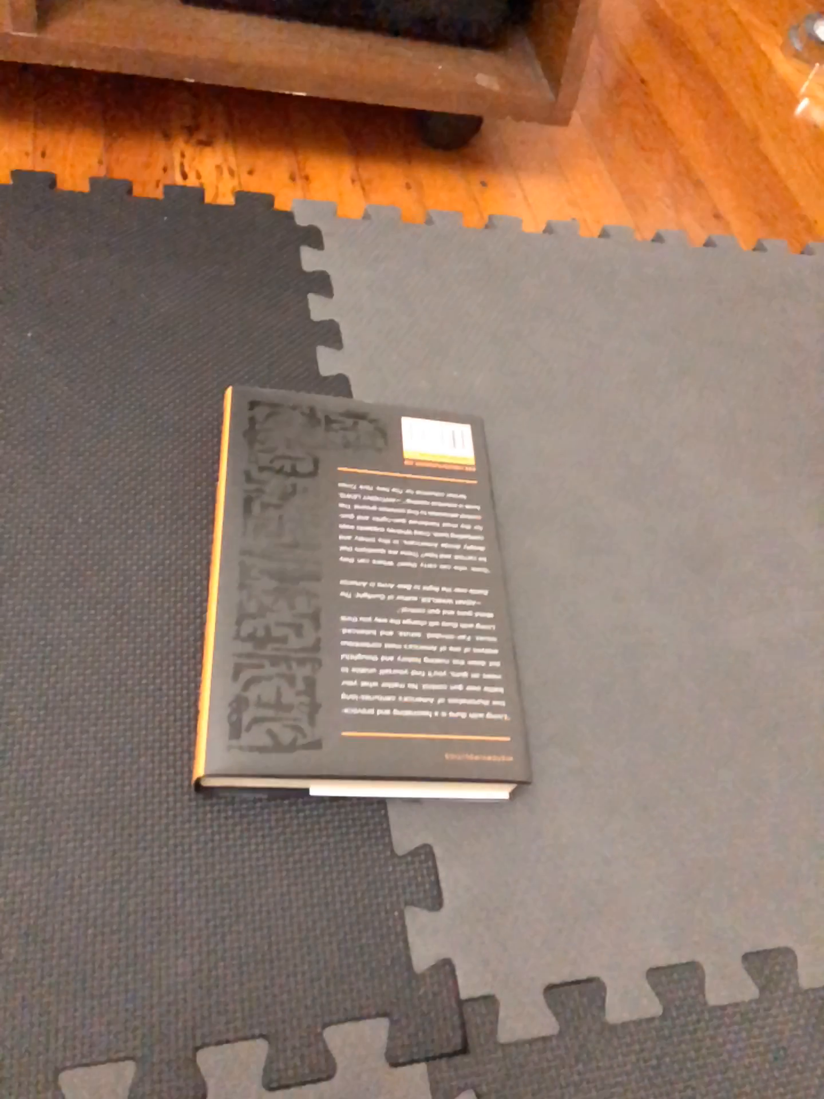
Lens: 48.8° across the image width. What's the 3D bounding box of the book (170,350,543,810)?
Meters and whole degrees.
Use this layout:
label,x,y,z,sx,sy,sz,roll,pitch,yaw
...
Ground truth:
label,x,y,z,sx,sy,sz,roll,pitch,yaw
book,-0.032,0.007,0.499,0.170,0.040,0.261,5,54,-12
